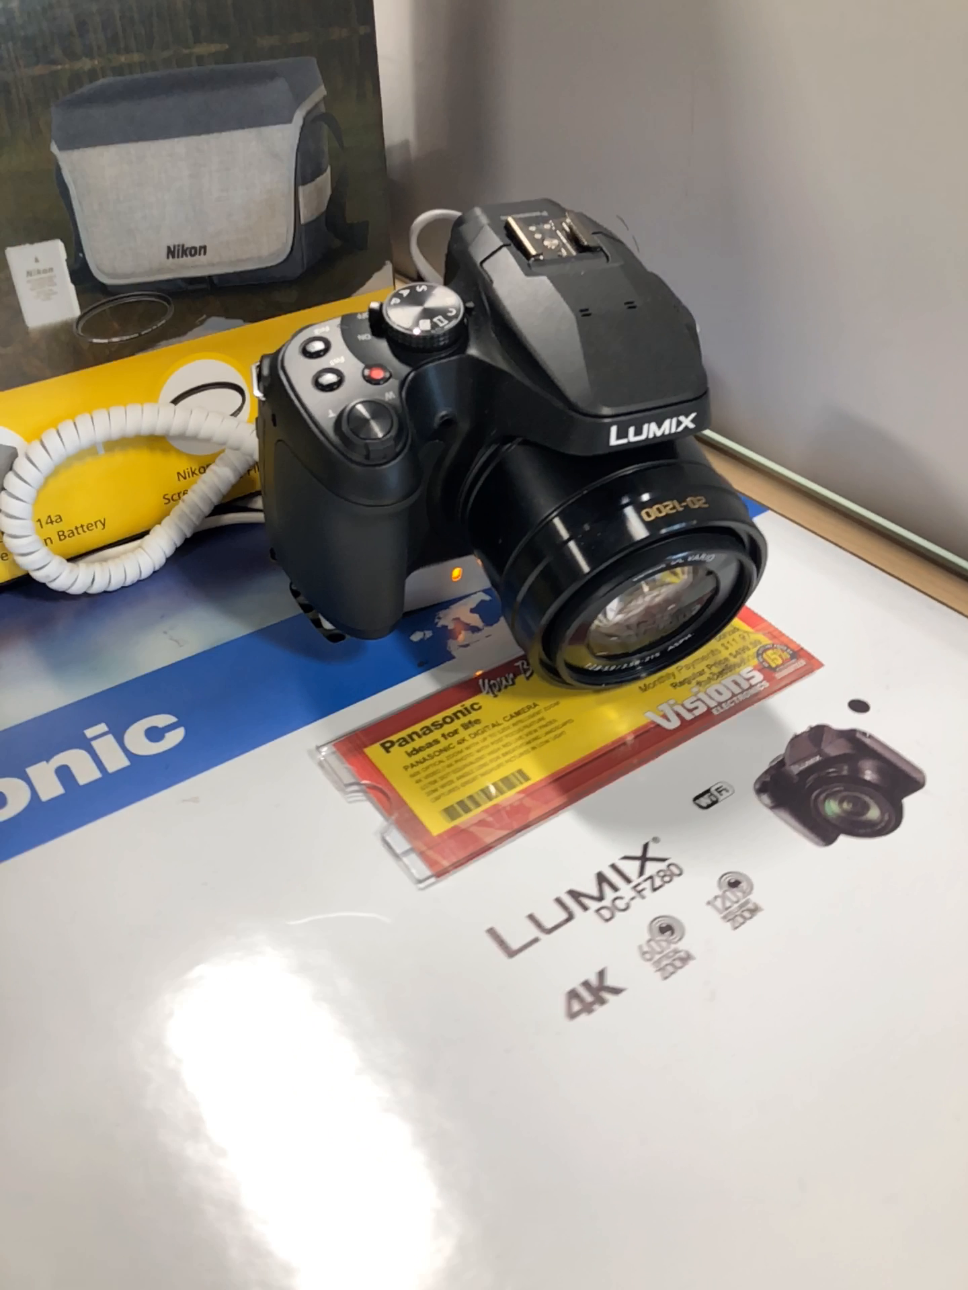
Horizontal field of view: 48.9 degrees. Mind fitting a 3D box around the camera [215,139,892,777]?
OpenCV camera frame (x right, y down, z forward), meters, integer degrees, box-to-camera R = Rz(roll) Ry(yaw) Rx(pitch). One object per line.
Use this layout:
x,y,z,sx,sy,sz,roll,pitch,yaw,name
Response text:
0.009,-0.052,0.277,0.120,0.099,0.101,-18,54,-21,camera
